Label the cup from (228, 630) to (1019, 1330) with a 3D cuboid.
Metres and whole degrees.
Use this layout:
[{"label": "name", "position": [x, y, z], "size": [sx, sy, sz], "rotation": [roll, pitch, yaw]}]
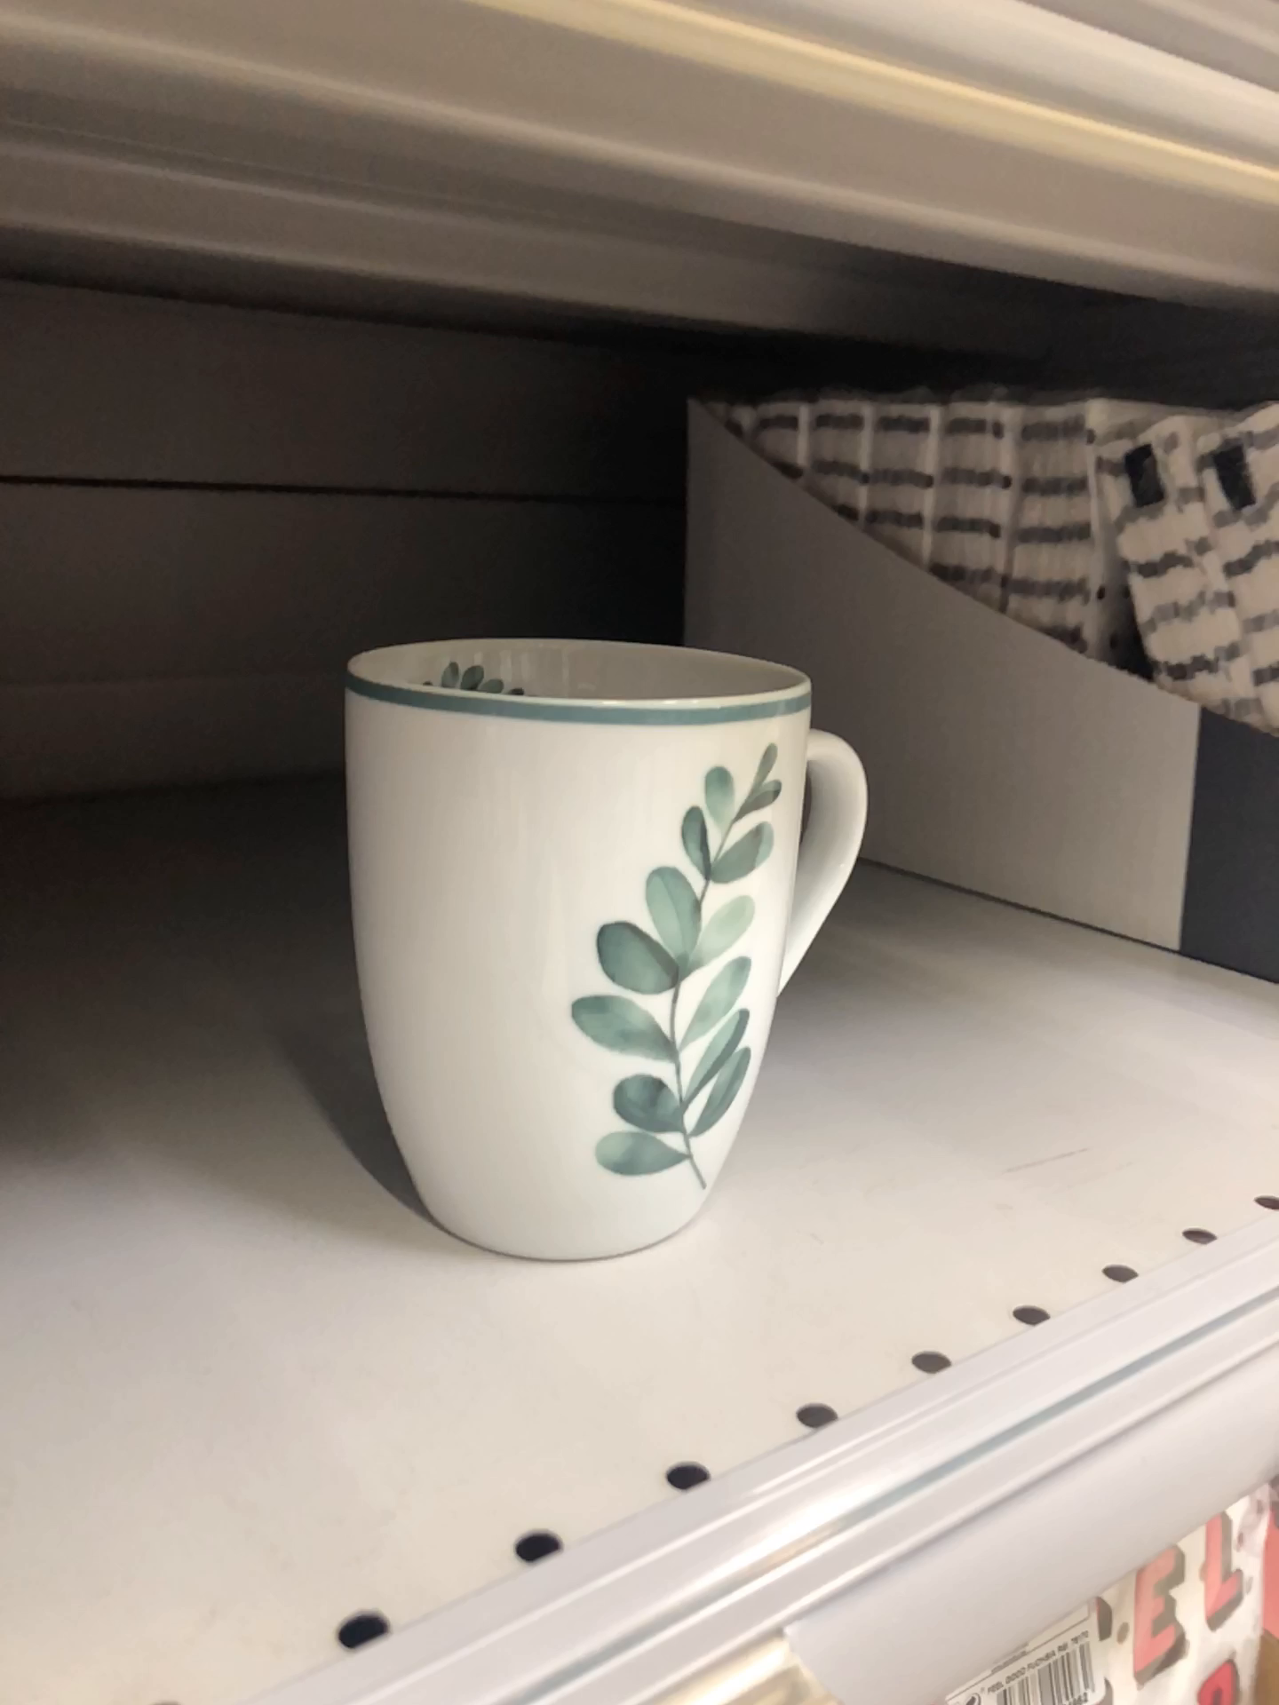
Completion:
[{"label": "cup", "position": [-0.005, 0.011, 0.266], "size": [0.117, 0.093, 0.082], "rotation": [-7, 17, -34]}]
